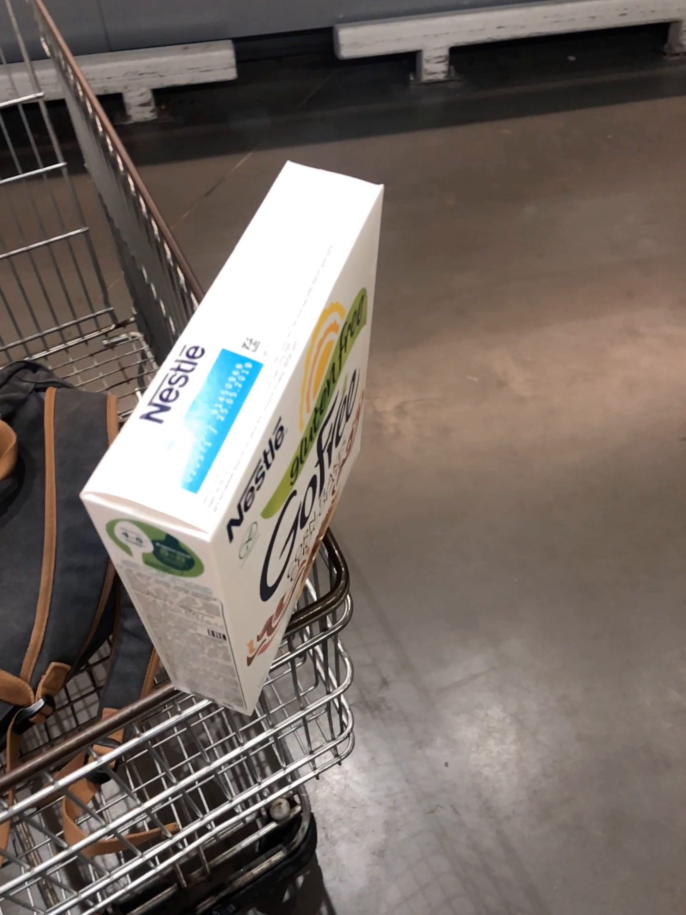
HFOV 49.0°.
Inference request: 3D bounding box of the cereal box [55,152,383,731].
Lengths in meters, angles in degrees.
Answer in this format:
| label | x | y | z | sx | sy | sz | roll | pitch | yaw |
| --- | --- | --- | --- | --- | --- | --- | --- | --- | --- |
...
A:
| label | x | y | z | sx | sy | sz | roll | pitch | yaw |
| --- | --- | --- | --- | --- | --- | --- | --- | --- | --- |
| cereal box | -0.041 | 0.006 | 0.390 | 0.050 | 0.229 | 0.201 | 17 | 57 | 9 |
